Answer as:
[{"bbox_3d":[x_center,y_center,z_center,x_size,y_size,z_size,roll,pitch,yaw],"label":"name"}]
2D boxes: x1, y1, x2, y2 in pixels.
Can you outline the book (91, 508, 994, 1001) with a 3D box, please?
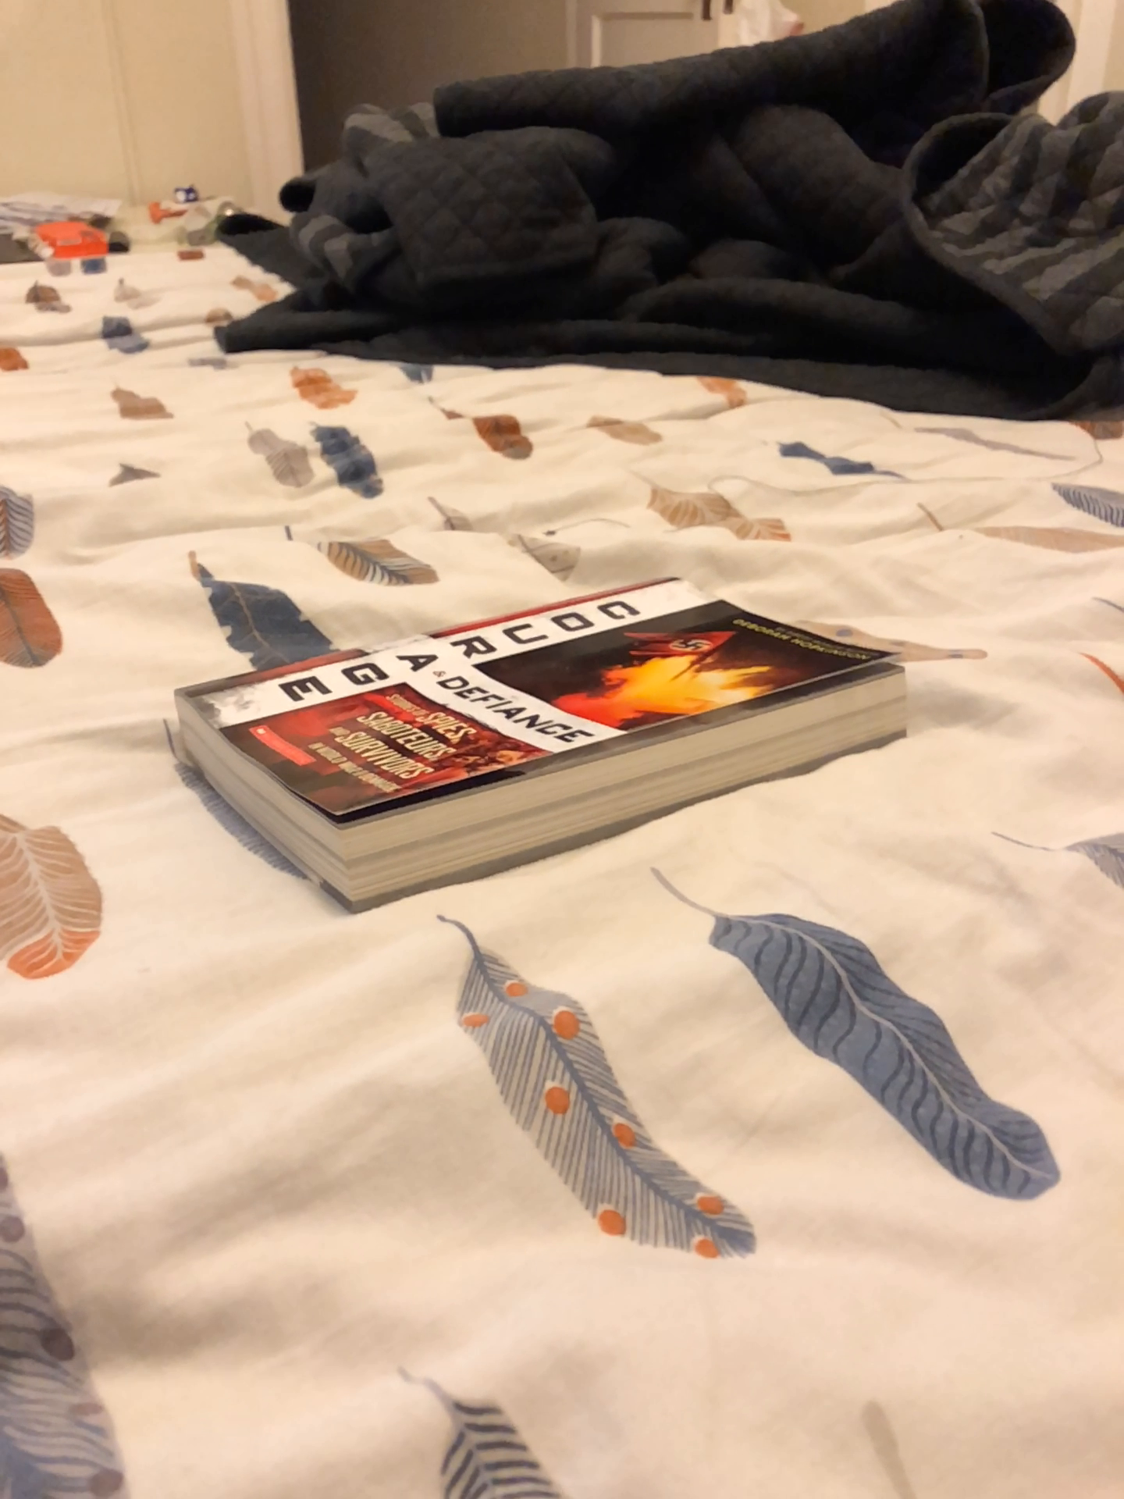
[{"bbox_3d":[-0.011,-0.023,0.422,0.231,0.020,0.201,-20,35,-30],"label":"book"}]
